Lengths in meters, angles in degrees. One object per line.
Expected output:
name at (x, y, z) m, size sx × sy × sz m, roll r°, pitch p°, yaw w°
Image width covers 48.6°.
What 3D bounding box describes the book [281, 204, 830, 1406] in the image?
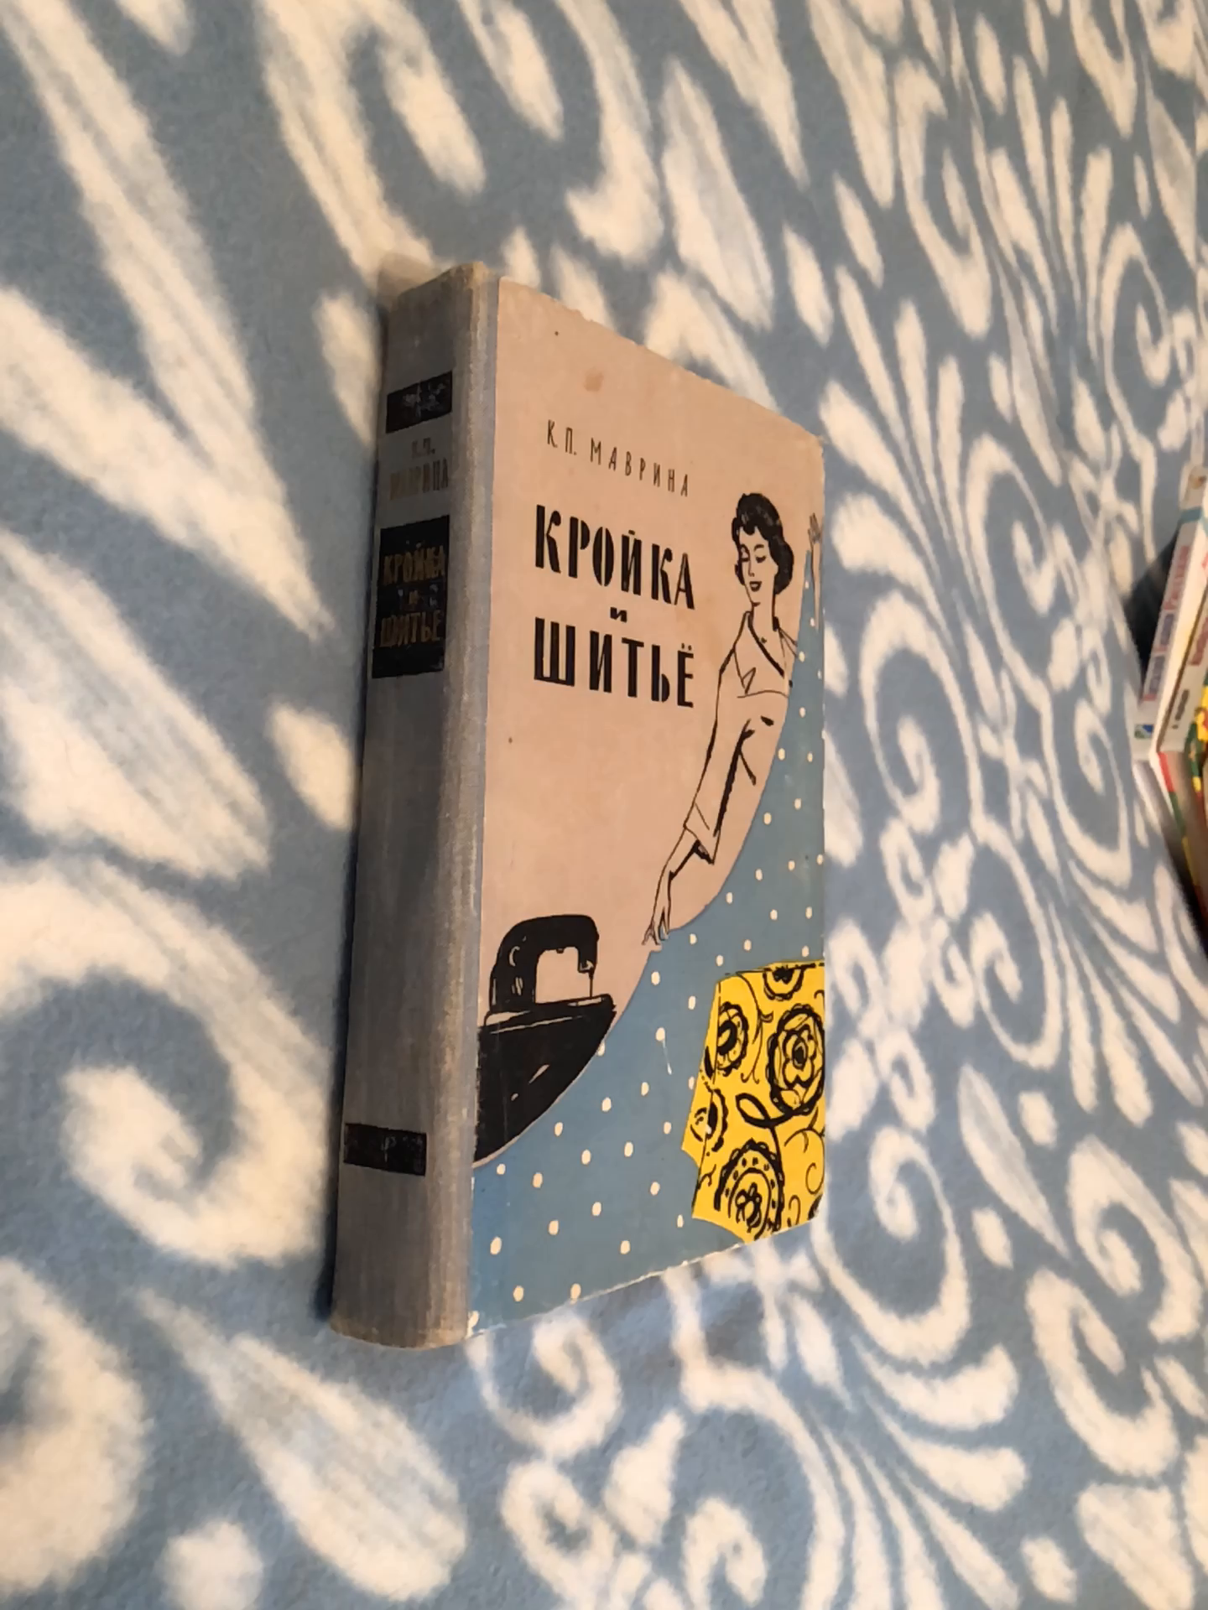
book at (-0.001, 0.002, 0.326) m, size 0.152 × 0.037 × 0.231 m, roll 6°, pitch 83°, yaw -49°
